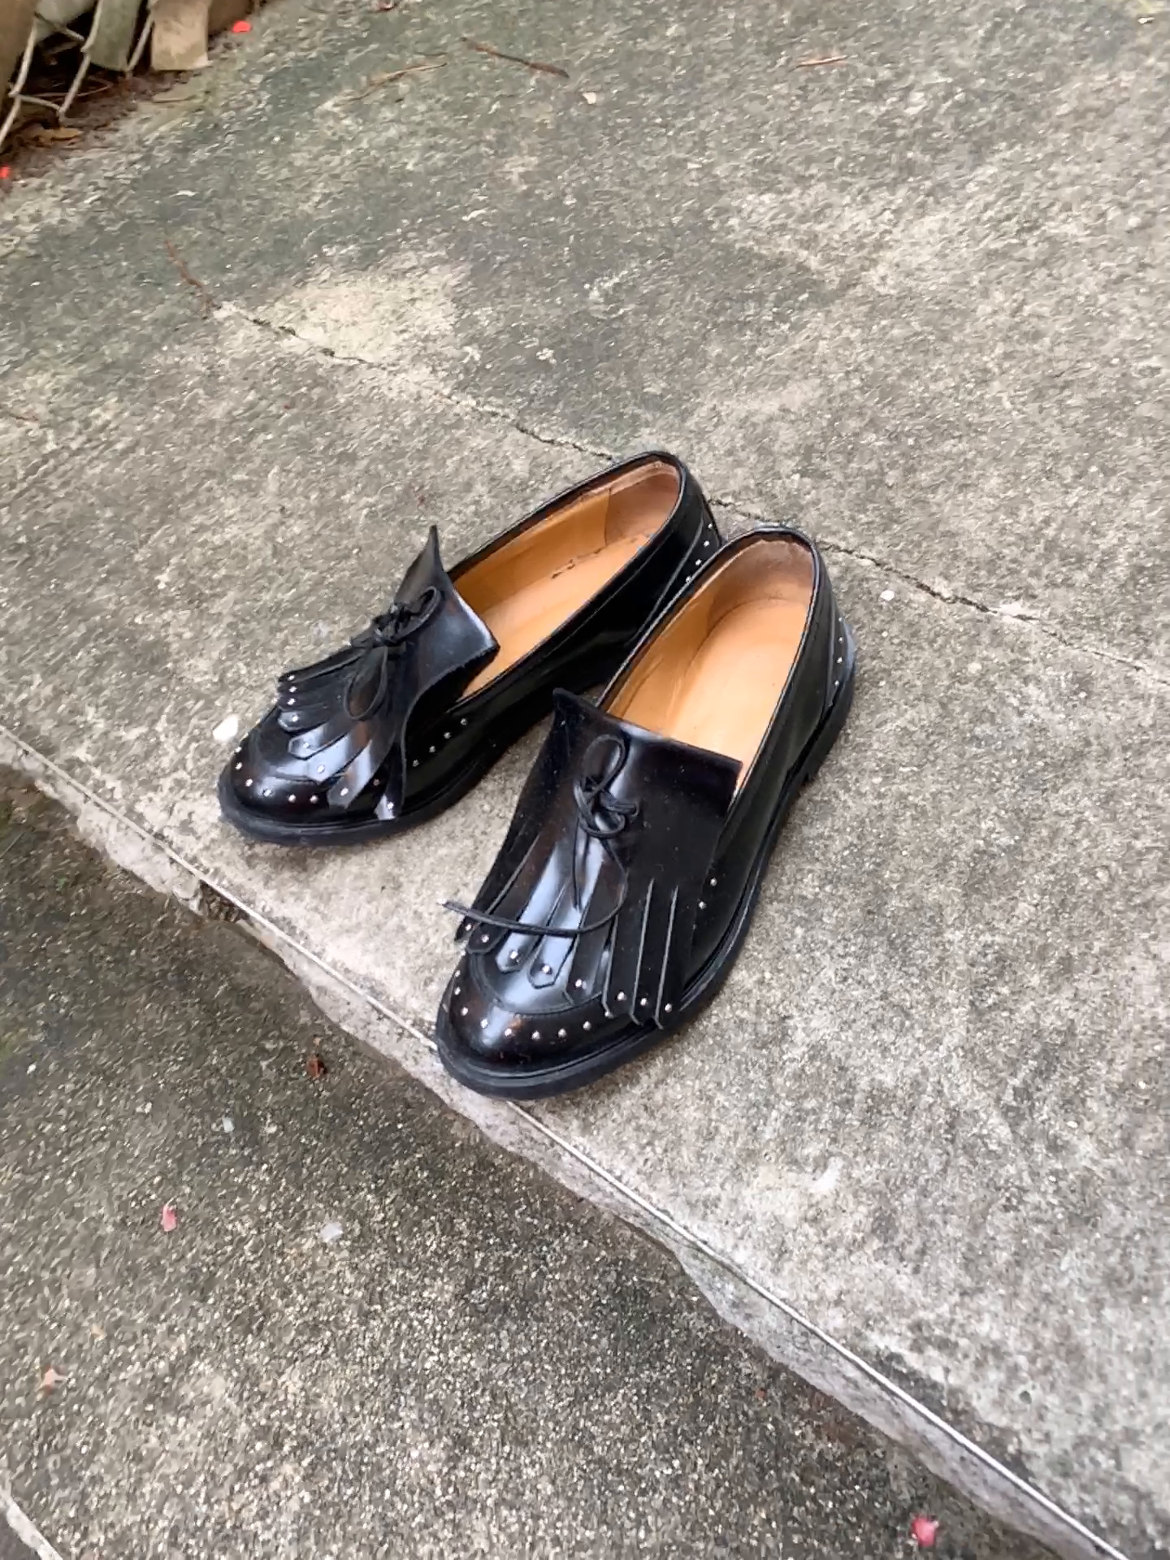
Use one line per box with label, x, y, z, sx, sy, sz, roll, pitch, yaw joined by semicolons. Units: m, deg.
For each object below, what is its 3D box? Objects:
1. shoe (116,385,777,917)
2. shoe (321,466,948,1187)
shoe;-0.052;-0.057;0.498;0.246;0.080;0.094;-29;54;-9
shoe;0.030;0.006;0.439;0.094;0.080;0.249;26;65;25
